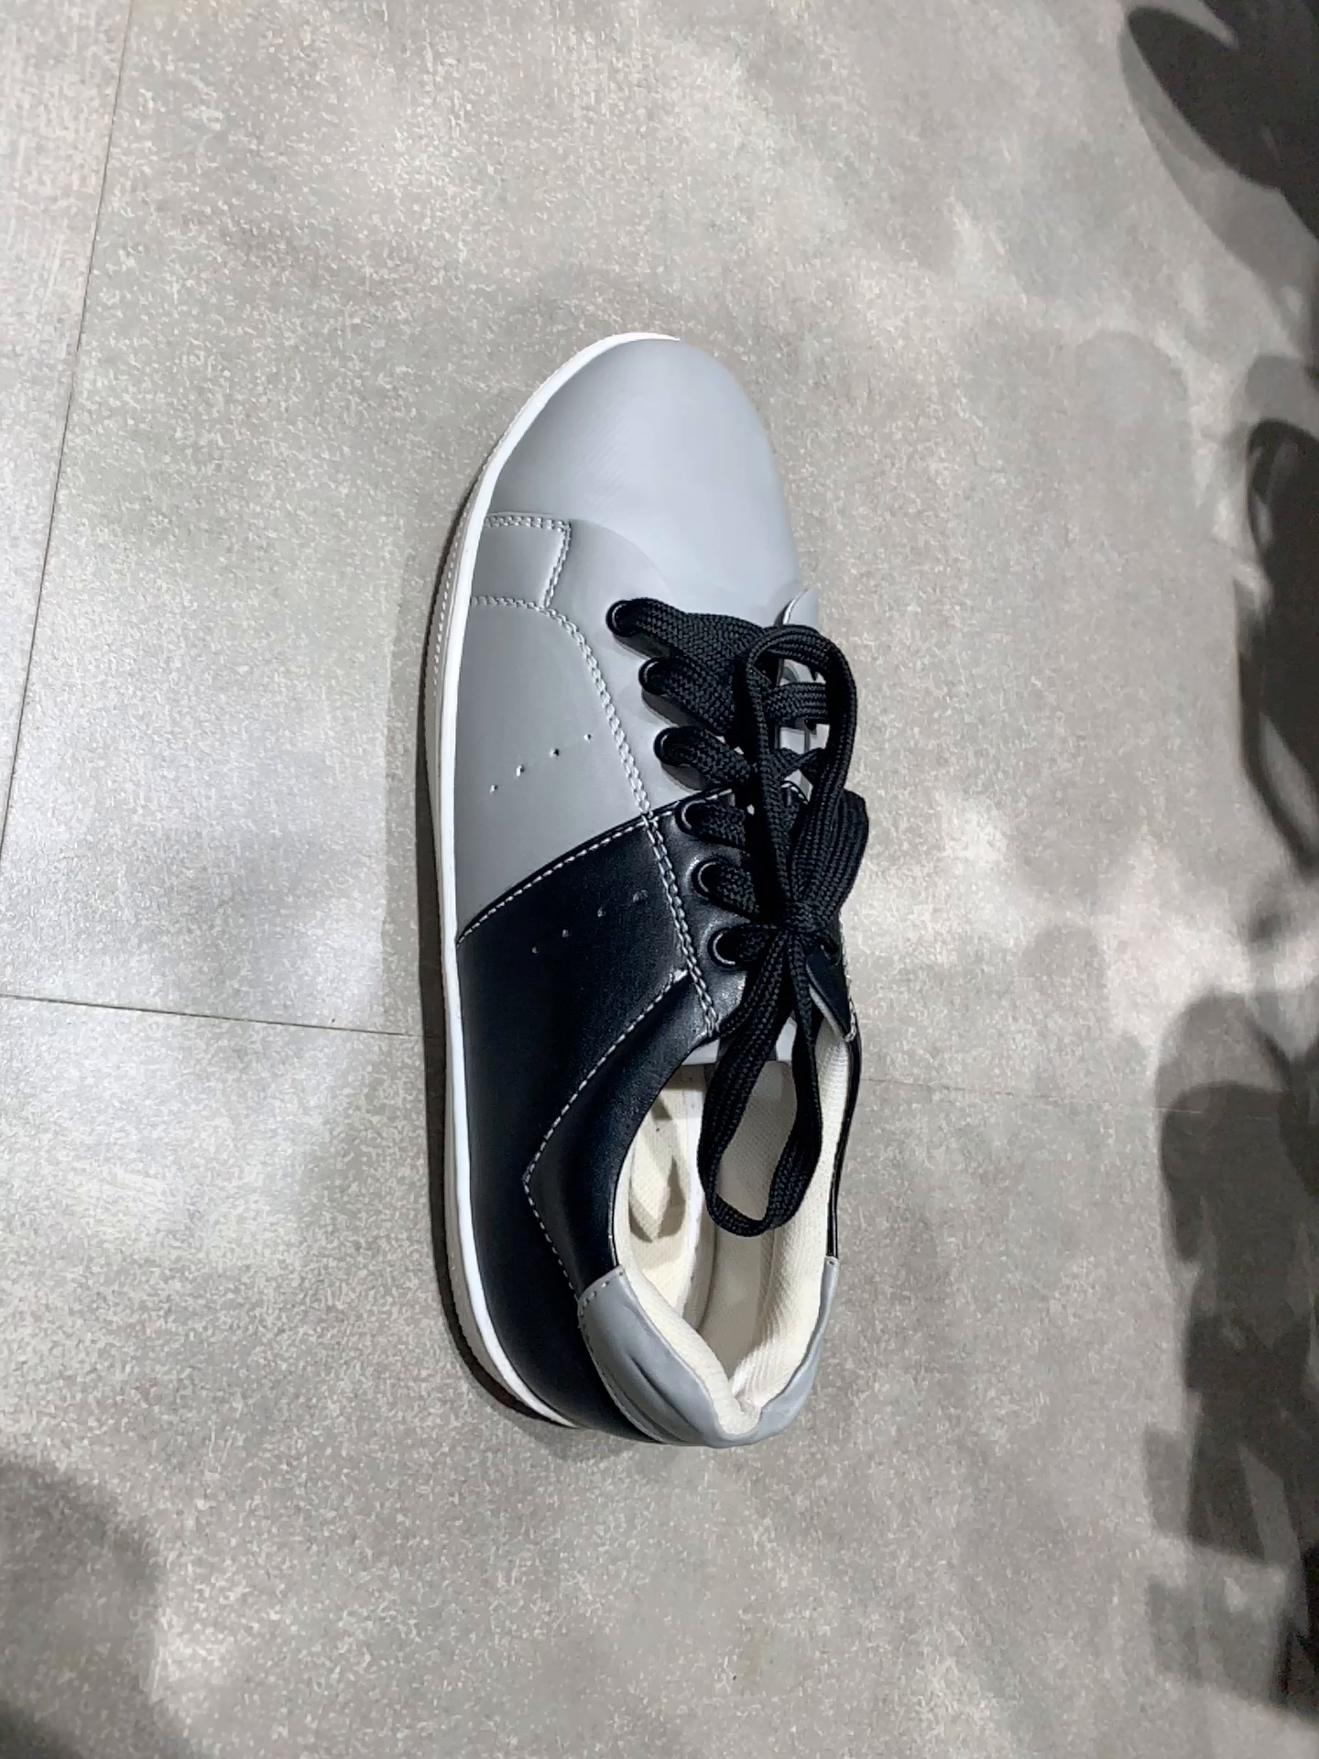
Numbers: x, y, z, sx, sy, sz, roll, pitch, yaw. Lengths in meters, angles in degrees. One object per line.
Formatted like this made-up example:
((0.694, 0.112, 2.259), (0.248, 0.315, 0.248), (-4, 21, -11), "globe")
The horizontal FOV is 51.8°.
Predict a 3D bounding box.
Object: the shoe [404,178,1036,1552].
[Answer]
((0.012, -0.002, 0.319), (0.102, 0.093, 0.263), (8, 76, -31), "shoe")
